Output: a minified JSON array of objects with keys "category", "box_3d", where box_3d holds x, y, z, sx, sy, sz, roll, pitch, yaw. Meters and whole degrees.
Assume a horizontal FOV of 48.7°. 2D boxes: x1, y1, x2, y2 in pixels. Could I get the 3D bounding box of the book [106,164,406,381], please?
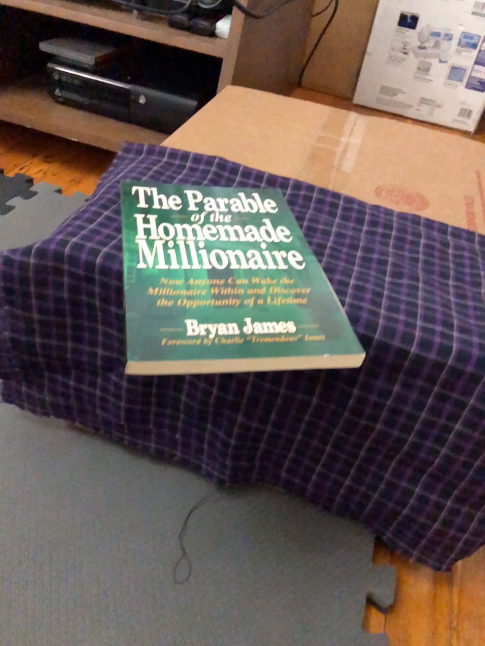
[{"category":"book","box_3d":[-0.009,-0.049,0.360,0.160,0.020,0.211,-1,41,-13]}]
